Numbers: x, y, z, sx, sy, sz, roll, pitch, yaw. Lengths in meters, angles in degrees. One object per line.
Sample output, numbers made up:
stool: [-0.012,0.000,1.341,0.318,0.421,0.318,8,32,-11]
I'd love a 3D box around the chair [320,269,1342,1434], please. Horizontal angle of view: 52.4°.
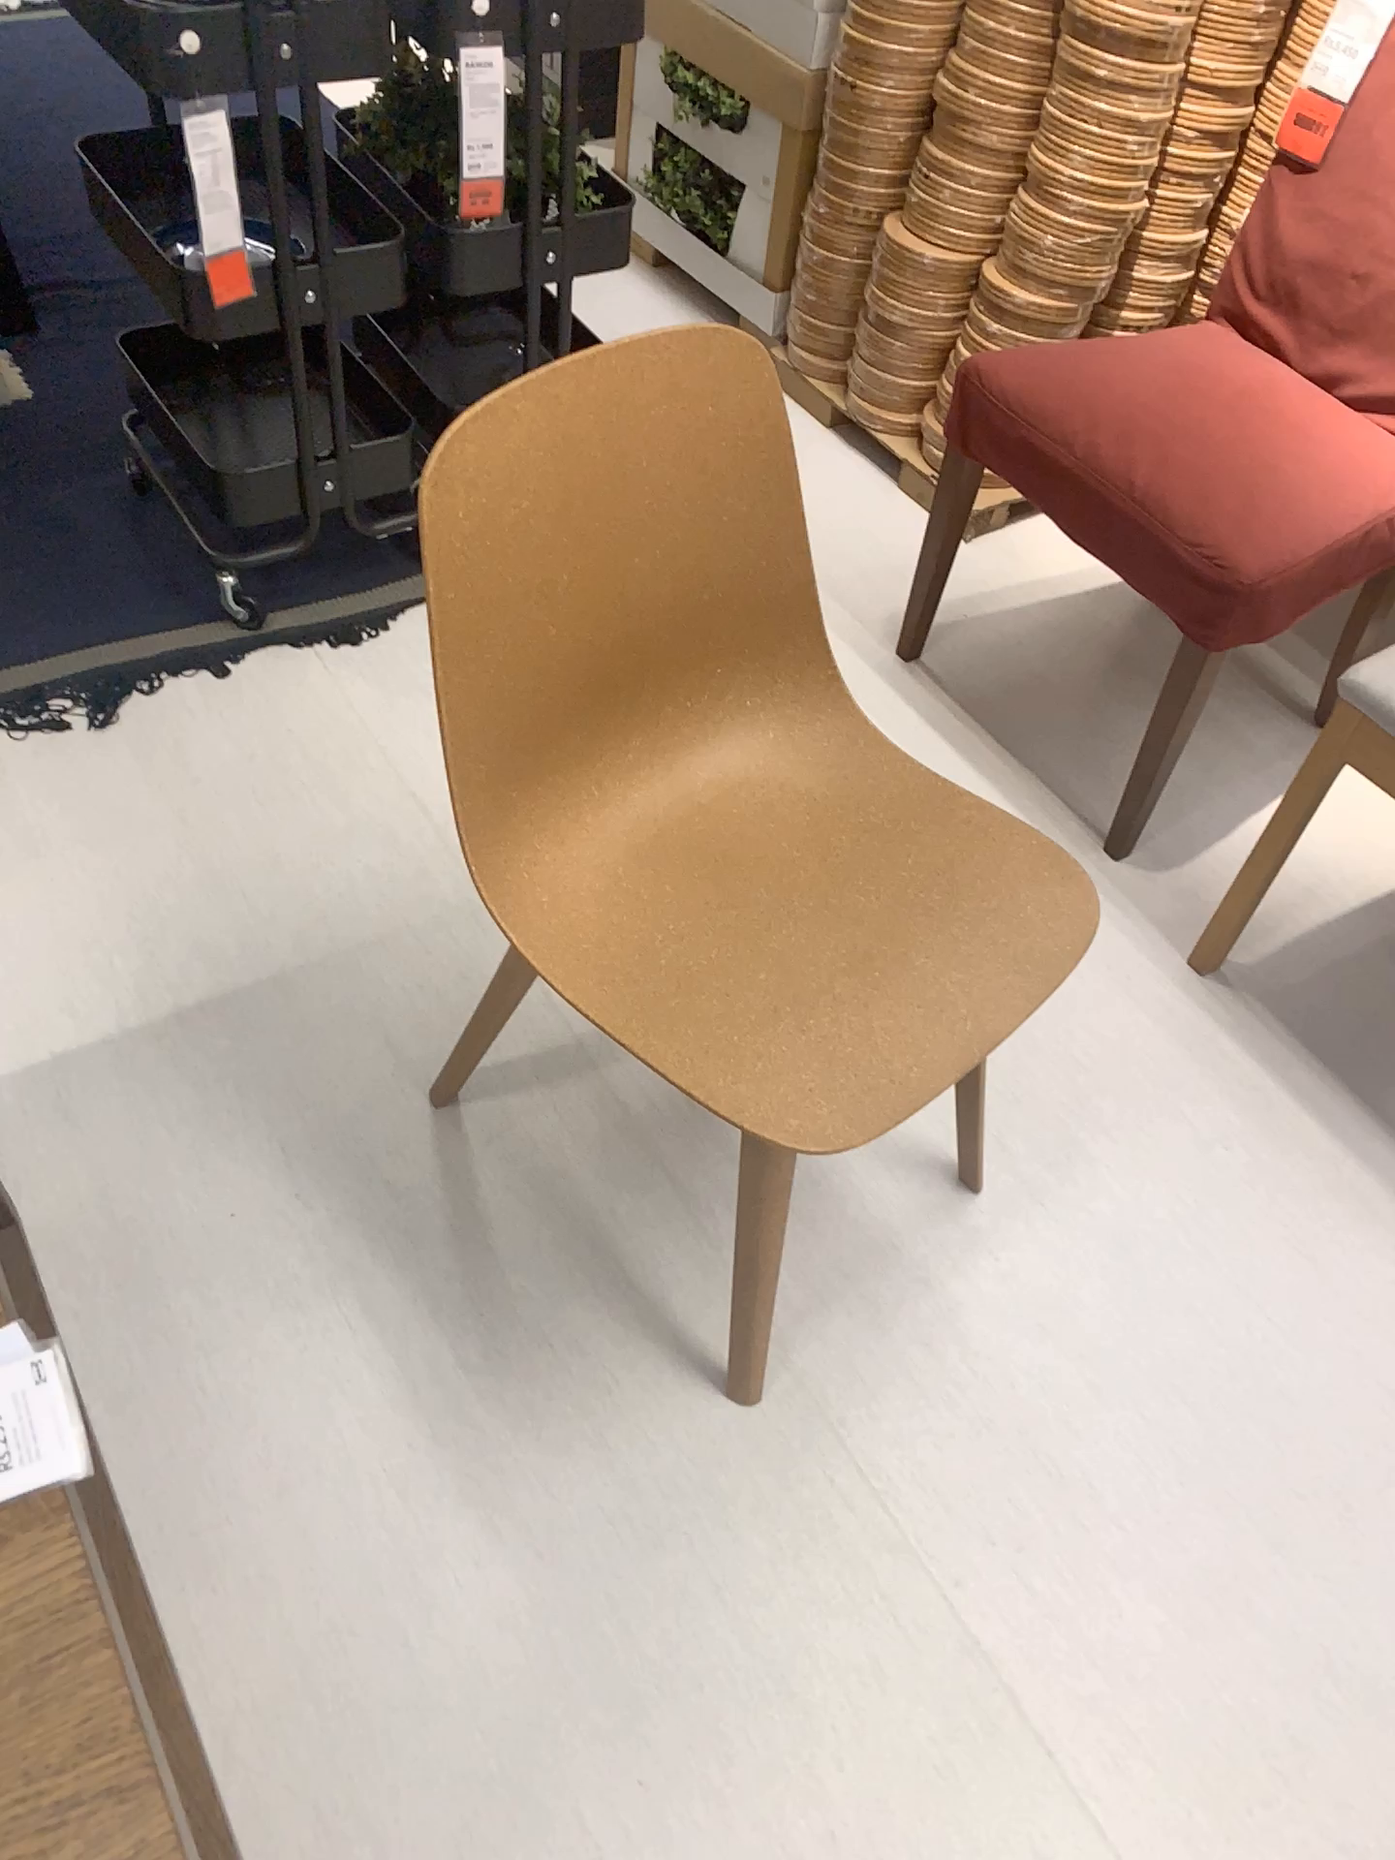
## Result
chair: [0.055,-0.046,1.205,0.441,0.718,0.521,-35,62,-31]
